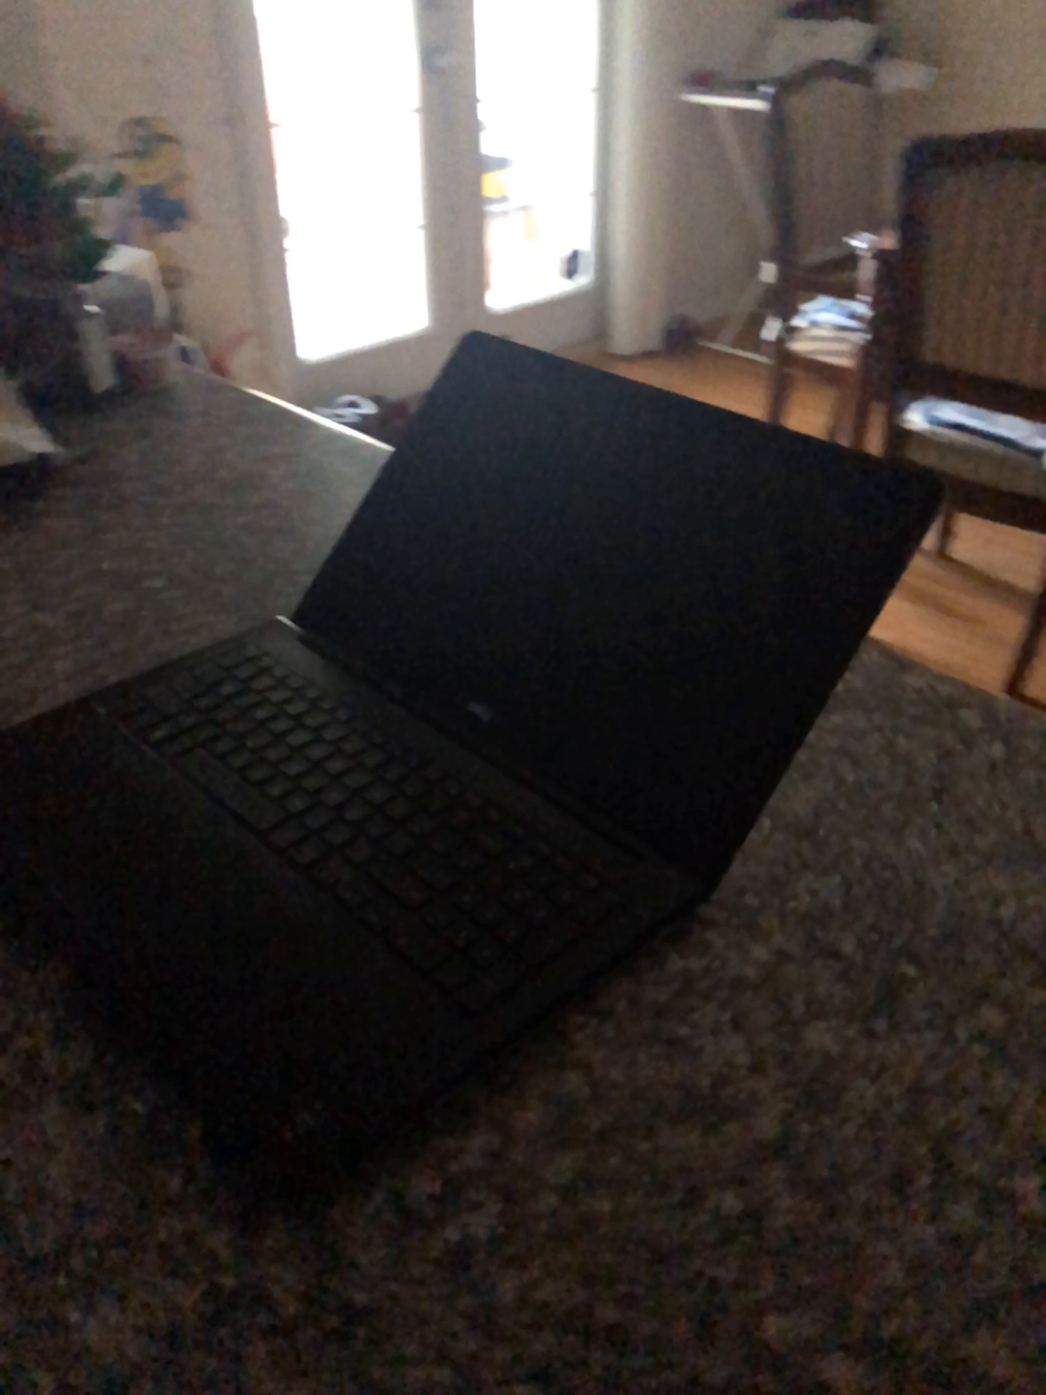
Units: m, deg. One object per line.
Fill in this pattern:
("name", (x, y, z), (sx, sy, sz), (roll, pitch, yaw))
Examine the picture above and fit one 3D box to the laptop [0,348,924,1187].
("laptop", (-0.067, -0.029, 0.624), (0.414, 0.158, 0.362), (-28, 43, -36))
